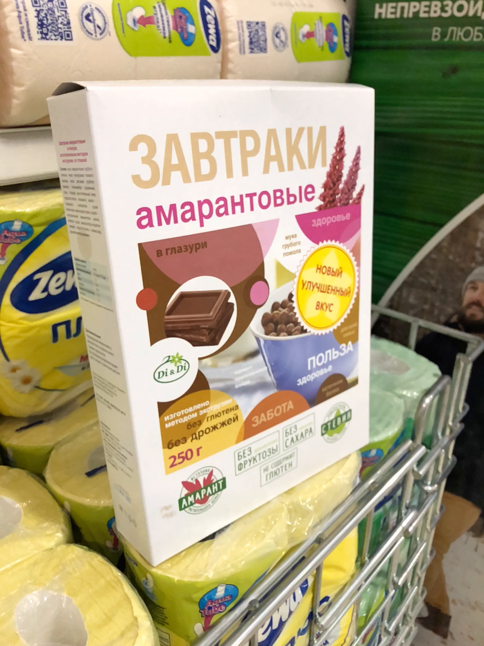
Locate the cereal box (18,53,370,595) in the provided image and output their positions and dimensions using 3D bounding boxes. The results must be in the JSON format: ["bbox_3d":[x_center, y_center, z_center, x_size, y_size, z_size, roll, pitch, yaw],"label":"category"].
[{"bbox_3d":[-0.004,-0.008,0.326,0.191,0.269,0.050,-18,23,-35],"label":"cereal box"}]
